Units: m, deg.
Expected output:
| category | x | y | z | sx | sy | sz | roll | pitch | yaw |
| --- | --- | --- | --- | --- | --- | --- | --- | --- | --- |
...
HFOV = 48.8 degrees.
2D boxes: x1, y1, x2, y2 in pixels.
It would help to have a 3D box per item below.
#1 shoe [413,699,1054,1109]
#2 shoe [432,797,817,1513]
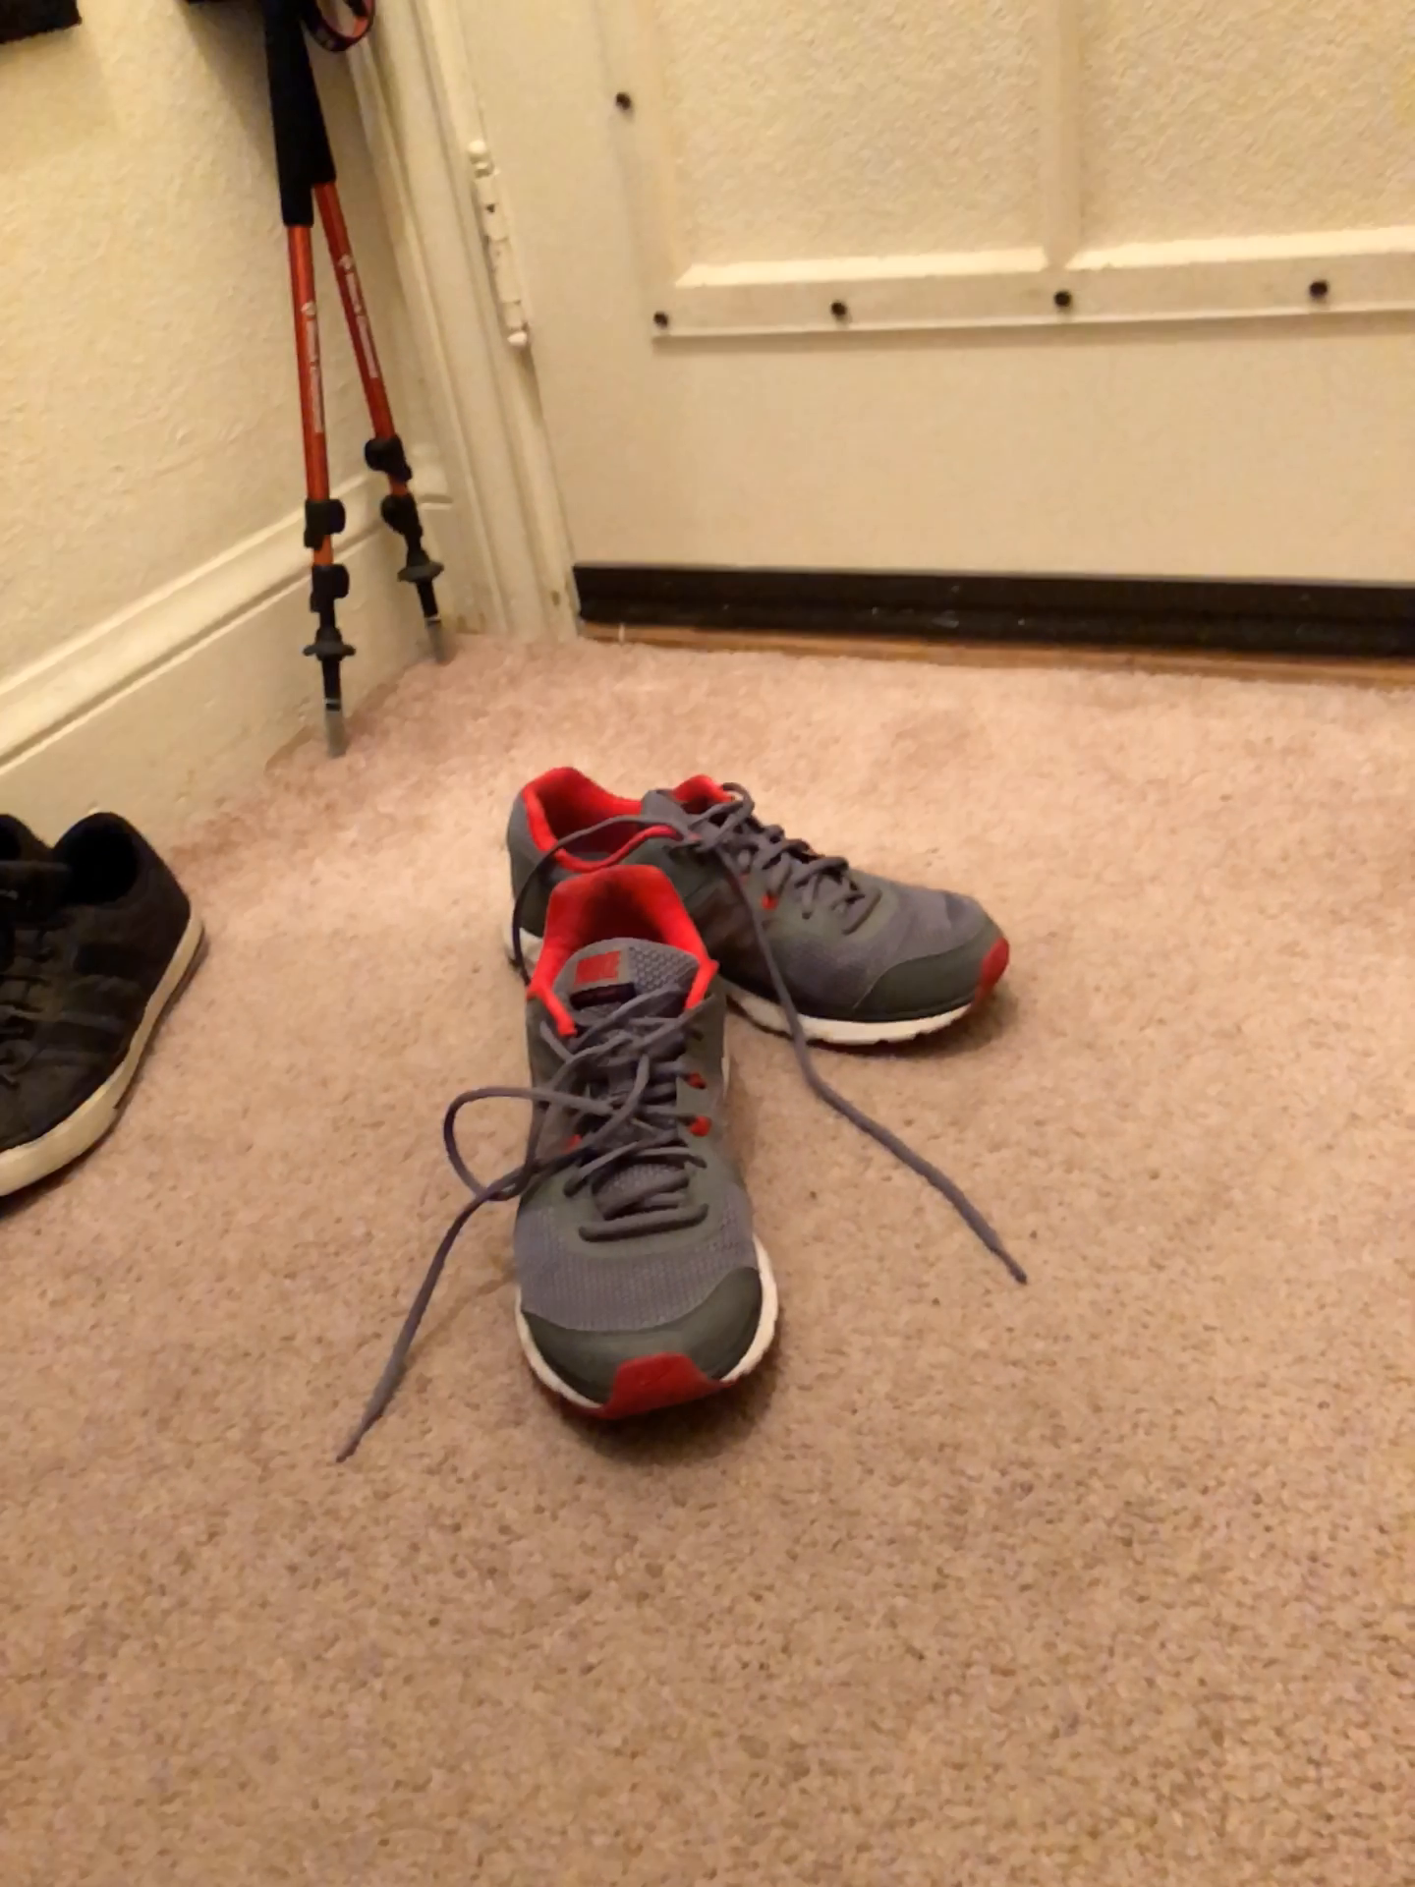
| category | x | y | z | sx | sy | sz | roll | pitch | yaw |
| --- | --- | --- | --- | --- | --- | --- | --- | --- | --- |
| shoe | 0.013 | -0.030 | 0.797 | 0.297 | 0.119 | 0.114 | 12 | 40 | 29 |
| shoe | -0.027 | 0.070 | 0.662 | 0.113 | 0.119 | 0.299 | -7 | 34 | 4 |
